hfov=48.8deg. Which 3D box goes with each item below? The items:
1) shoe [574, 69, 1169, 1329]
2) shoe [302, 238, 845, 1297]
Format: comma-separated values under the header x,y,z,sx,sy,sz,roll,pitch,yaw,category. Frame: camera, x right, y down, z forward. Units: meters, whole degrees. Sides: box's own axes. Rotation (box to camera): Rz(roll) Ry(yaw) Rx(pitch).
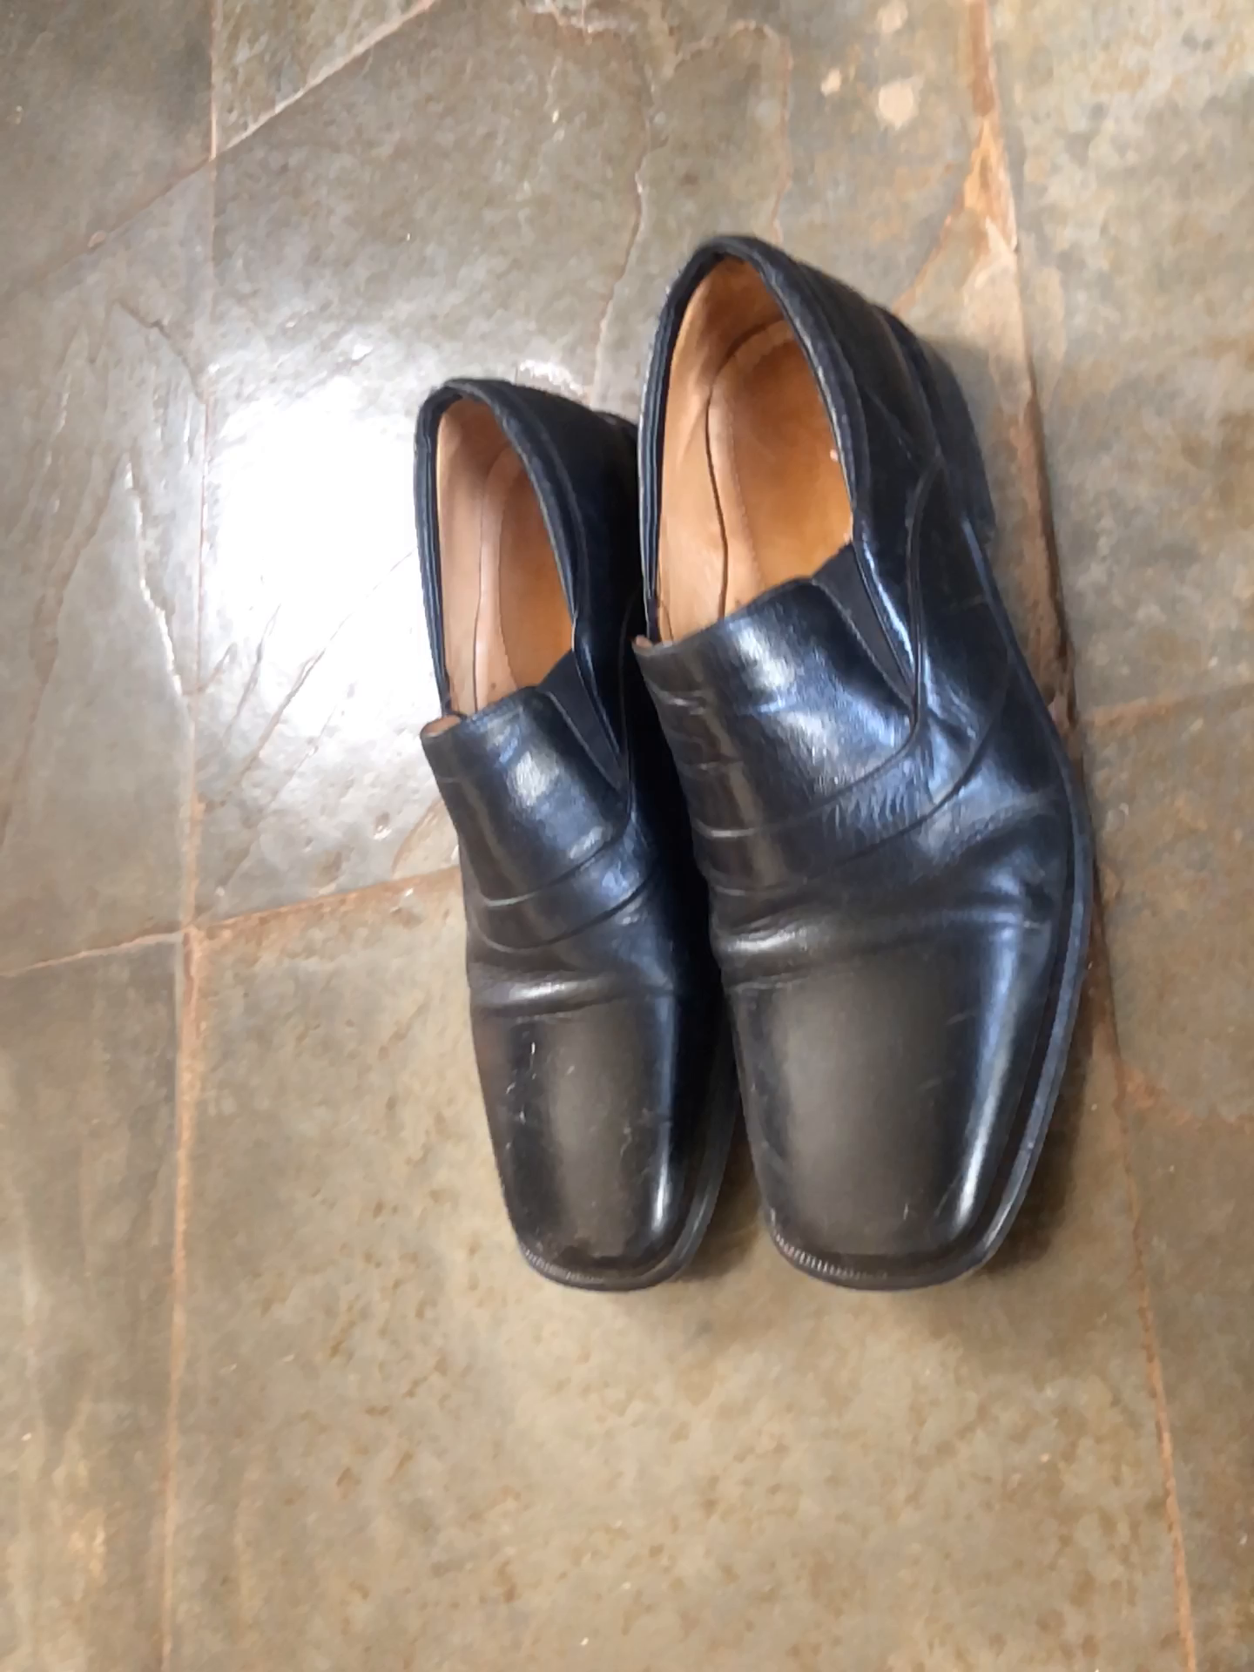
x,y,z,sx,sy,sz,roll,pitch,yaw,category
0.061,-0.027,0.365,0.100,0.110,0.280,-11,74,36,shoe
-0.017,-0.012,0.427,0.110,0.110,0.280,-11,73,36,shoe
